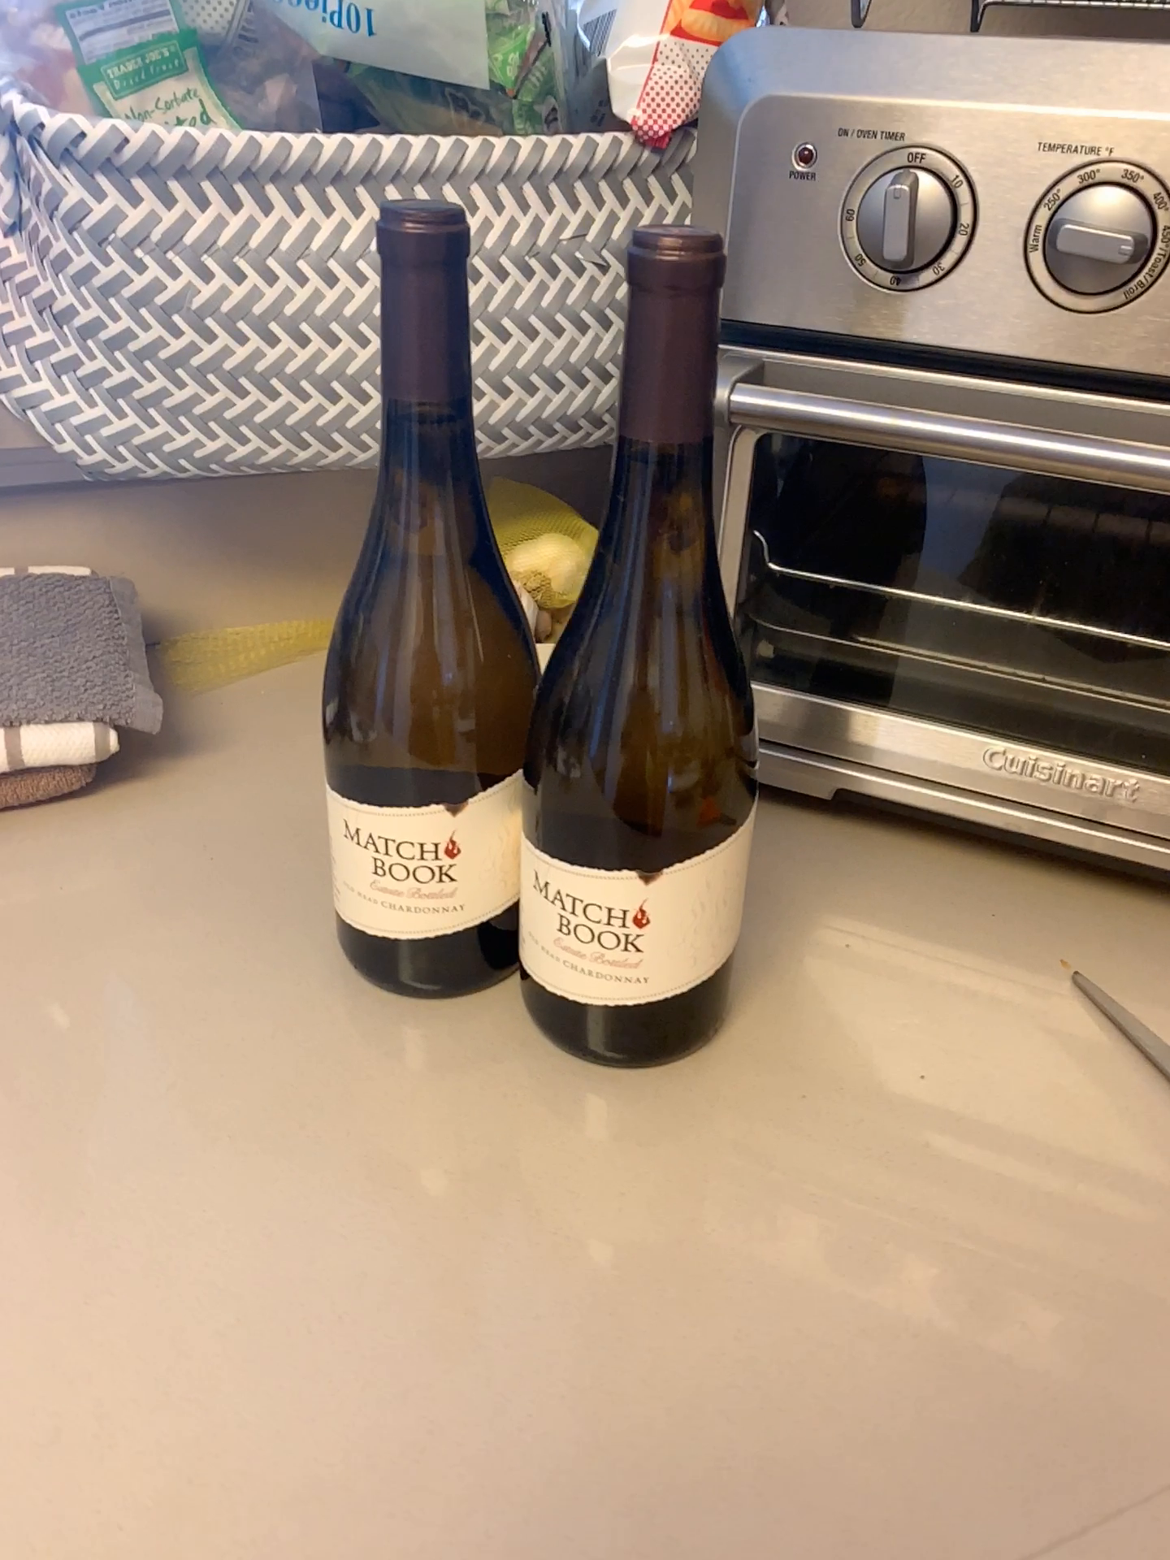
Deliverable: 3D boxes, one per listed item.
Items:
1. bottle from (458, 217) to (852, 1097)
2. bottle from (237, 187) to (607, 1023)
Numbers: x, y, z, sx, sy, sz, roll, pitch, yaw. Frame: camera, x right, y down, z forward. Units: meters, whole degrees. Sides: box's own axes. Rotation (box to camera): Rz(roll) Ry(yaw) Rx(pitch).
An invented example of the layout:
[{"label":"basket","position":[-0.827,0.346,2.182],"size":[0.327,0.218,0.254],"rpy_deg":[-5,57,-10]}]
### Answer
[{"label":"bottle","position":[0.019,-0.034,0.417],"size":[0.090,0.278,0.090],"rpy_deg":[2,31,-1]},{"label":"bottle","position":[-0.052,-0.056,0.451],"size":[0.090,0.288,0.090],"rpy_deg":[2,31,-1]}]
